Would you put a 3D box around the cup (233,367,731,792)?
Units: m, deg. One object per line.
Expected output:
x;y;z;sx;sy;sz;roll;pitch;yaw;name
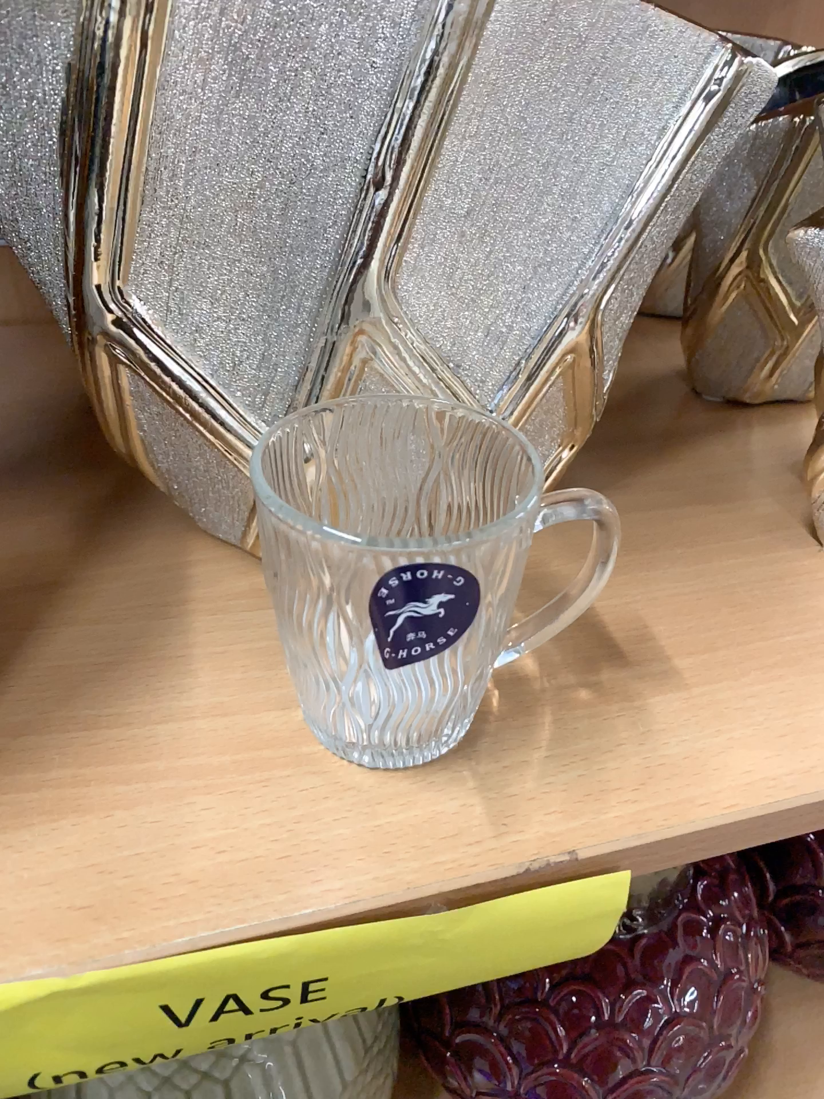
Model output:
0.011;0.003;0.222;0.100;0.070;0.070;-7;36;-14;cup
